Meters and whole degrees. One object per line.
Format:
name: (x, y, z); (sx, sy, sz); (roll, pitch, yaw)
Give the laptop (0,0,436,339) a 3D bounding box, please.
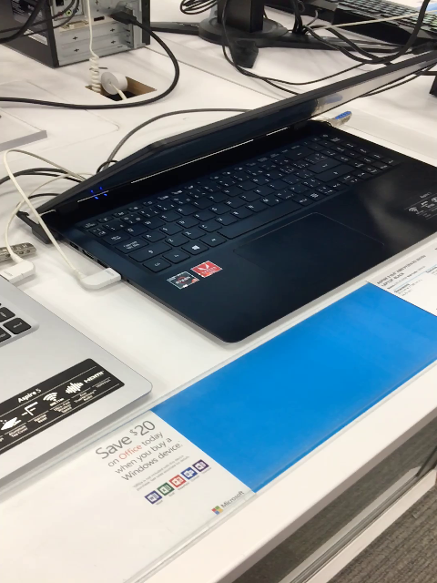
laptop: (0.067, -0.139, 0.518); (0.363, 0.157, 0.243); (-30, 53, -28)
